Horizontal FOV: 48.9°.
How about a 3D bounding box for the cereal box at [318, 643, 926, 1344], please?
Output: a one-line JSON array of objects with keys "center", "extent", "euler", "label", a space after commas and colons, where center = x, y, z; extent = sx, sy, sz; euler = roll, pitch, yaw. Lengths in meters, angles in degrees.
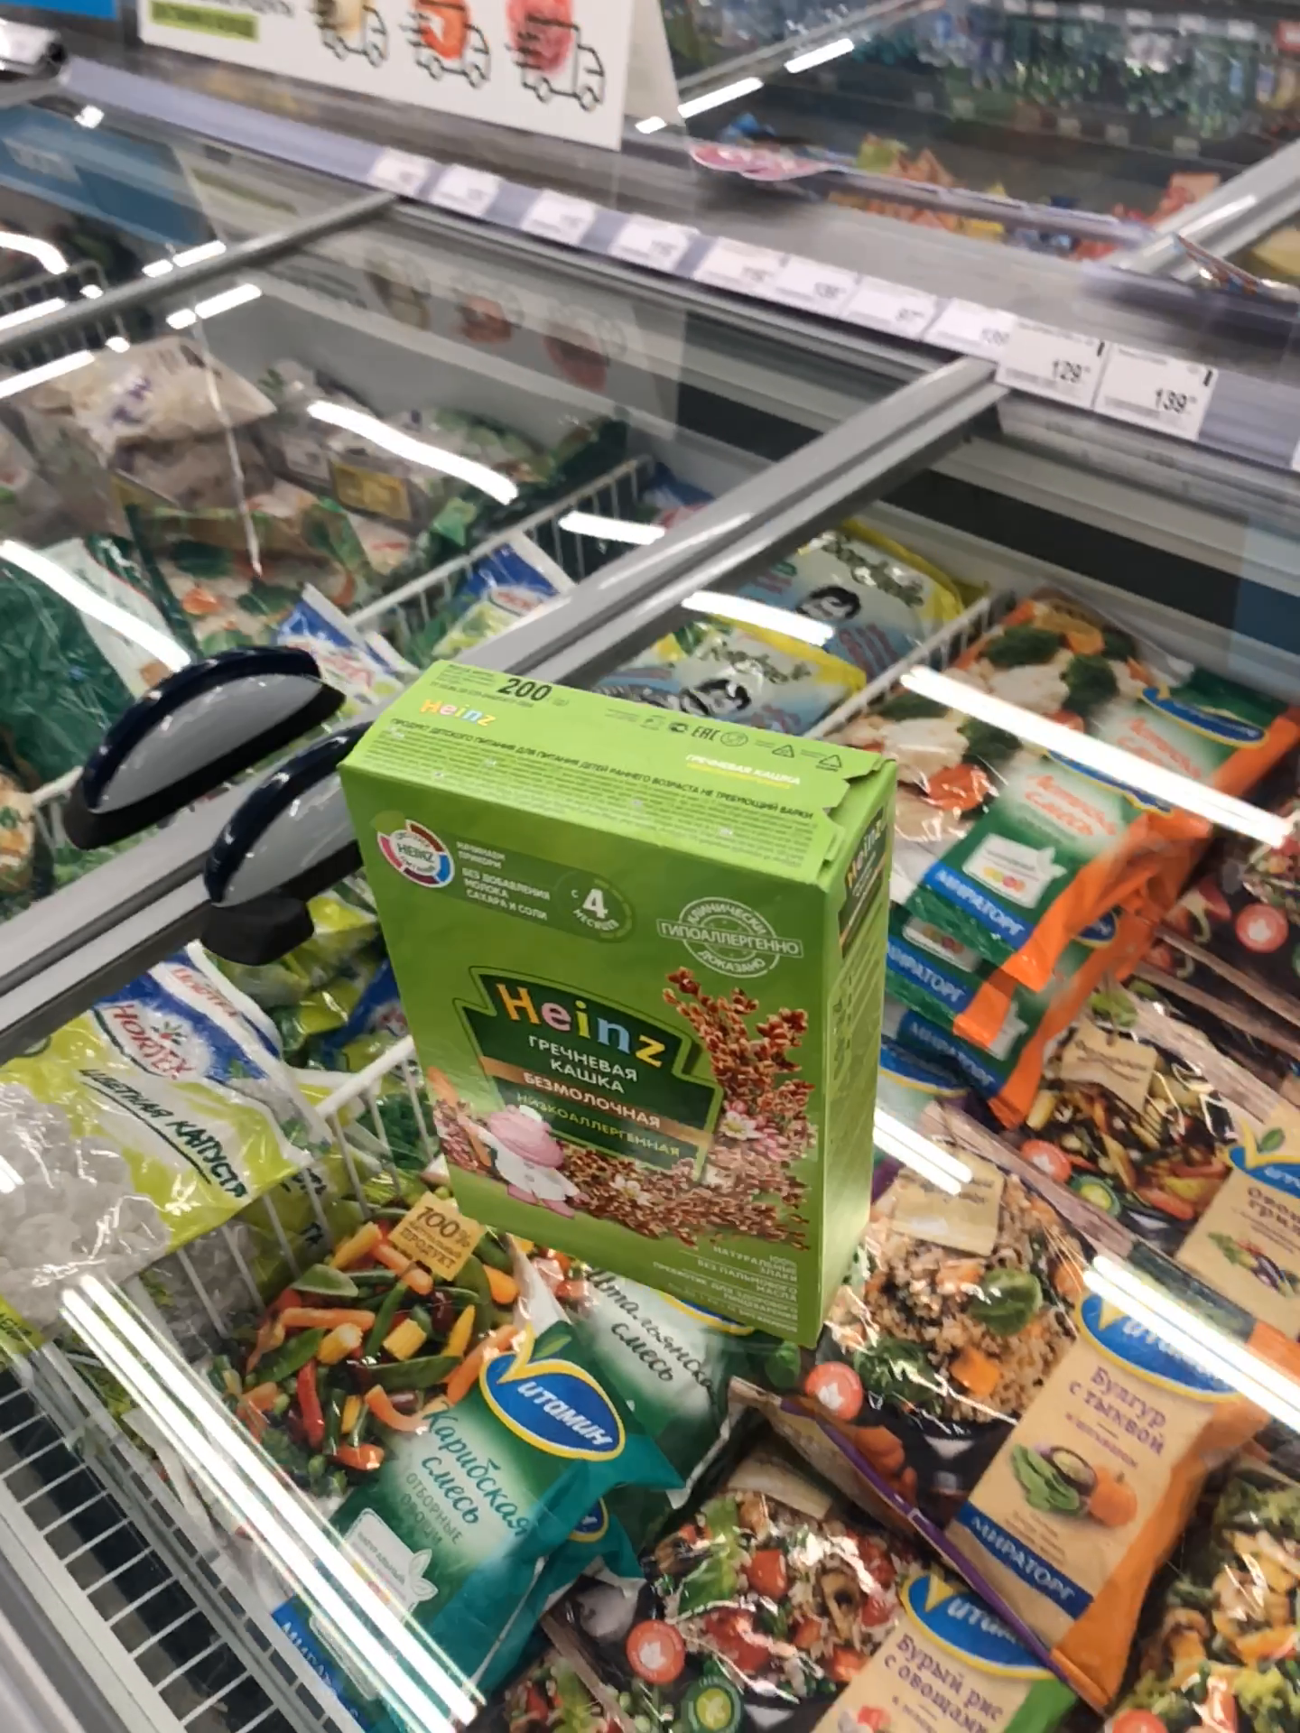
[{"center": [-0.002, 0.042, 0.410], "extent": [0.140, 0.189, 0.050], "euler": [15, 46, 21], "label": "cereal box"}]
